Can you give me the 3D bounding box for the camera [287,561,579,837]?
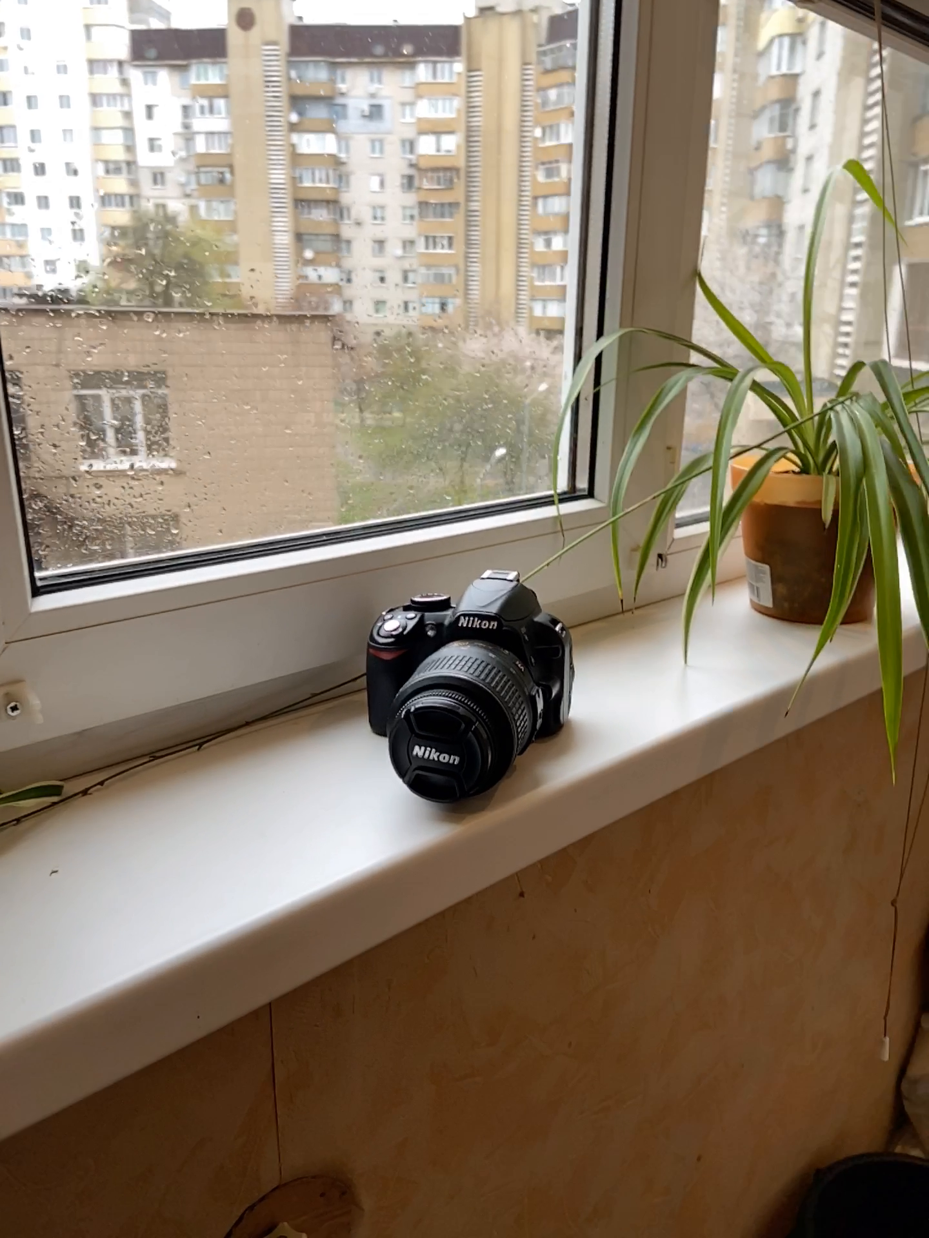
[{"bbox_3d":[-0.009,0.035,0.544,0.121,0.092,0.159,5,18,15],"label":"camera"}]
